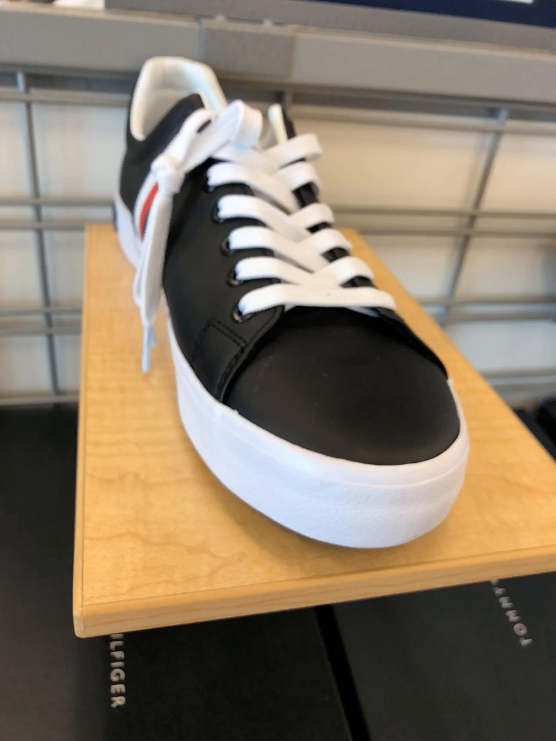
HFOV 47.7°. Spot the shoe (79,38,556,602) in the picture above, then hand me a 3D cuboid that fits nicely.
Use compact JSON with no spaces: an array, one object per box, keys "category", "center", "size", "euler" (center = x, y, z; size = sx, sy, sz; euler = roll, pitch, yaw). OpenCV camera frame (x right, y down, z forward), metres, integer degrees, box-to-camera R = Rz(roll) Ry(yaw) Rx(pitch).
[{"category":"shoe","center":[-0.011,-0.064,0.266],"size":[0.100,0.089,0.292],"euler":[-7,36,-22]}]
